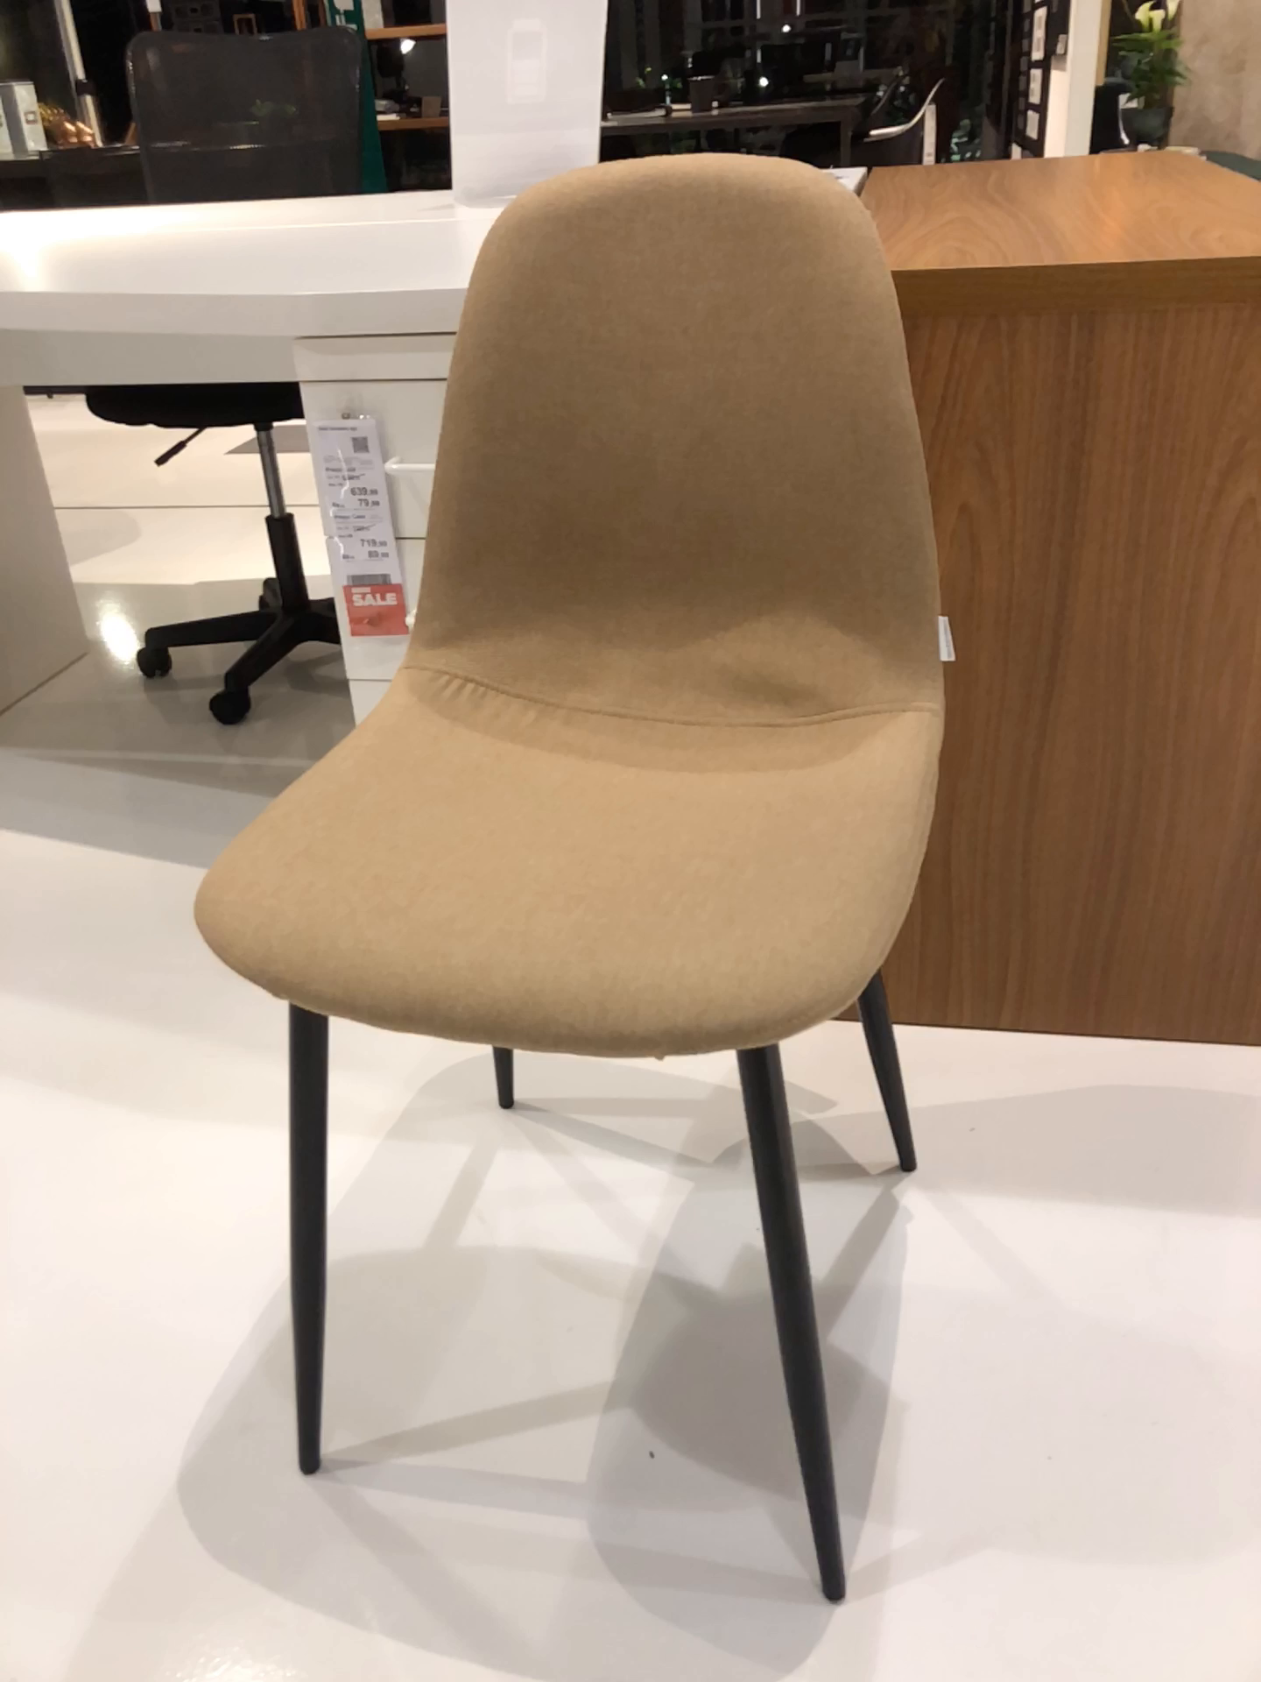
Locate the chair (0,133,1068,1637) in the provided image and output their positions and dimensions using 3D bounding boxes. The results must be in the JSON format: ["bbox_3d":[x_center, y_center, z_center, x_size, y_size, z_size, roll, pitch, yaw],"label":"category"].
[{"bbox_3d":[0.001,-0.015,0.933,0.480,0.784,0.524,6,29,17],"label":"chair"}]
